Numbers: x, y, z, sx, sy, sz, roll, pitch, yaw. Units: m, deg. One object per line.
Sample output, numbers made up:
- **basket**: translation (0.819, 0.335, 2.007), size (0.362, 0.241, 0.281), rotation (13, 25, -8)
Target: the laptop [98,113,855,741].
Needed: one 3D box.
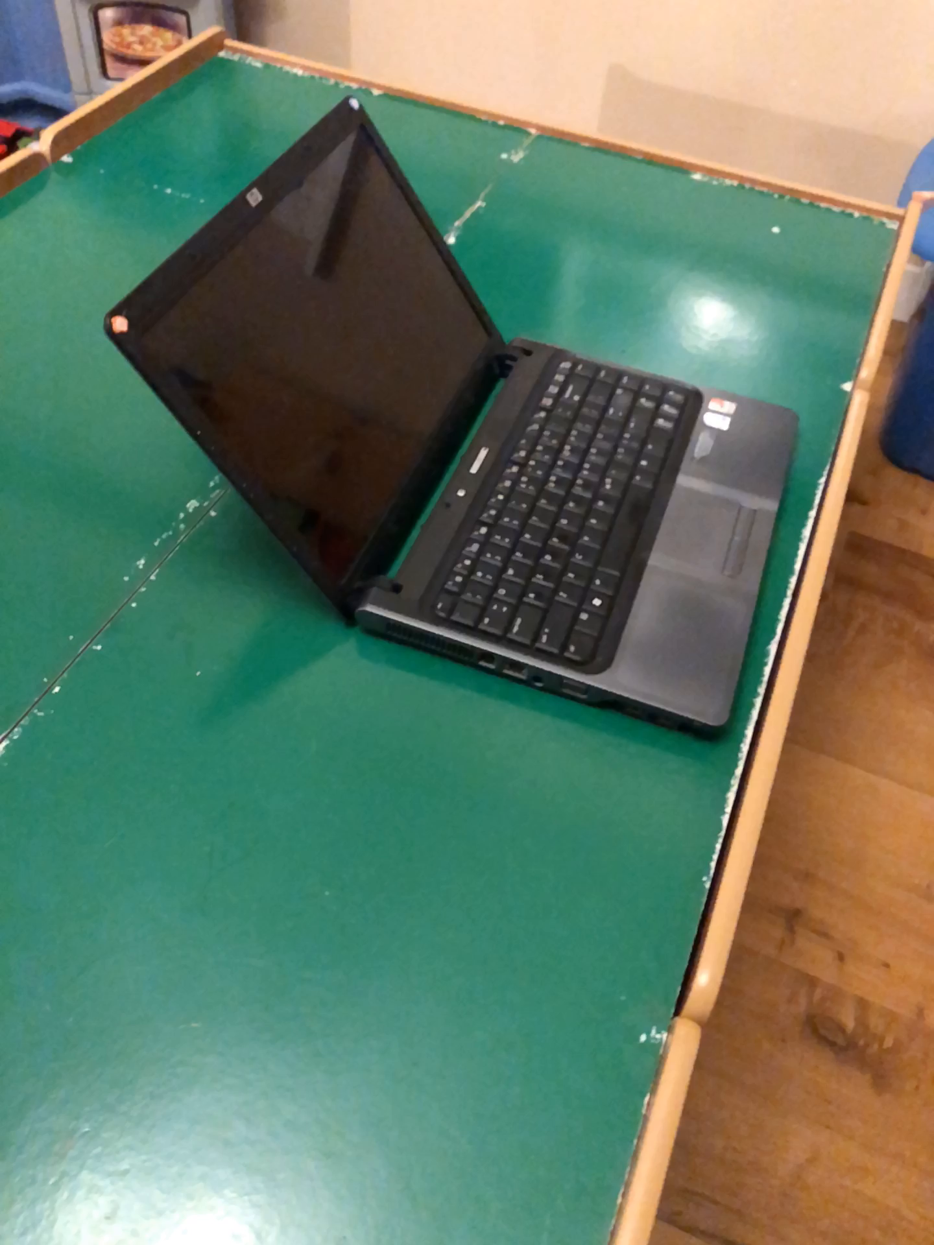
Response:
- **laptop**: translation (0.025, -0.153, 0.687), size (0.374, 0.172, 0.324), rotation (18, 50, 11)
